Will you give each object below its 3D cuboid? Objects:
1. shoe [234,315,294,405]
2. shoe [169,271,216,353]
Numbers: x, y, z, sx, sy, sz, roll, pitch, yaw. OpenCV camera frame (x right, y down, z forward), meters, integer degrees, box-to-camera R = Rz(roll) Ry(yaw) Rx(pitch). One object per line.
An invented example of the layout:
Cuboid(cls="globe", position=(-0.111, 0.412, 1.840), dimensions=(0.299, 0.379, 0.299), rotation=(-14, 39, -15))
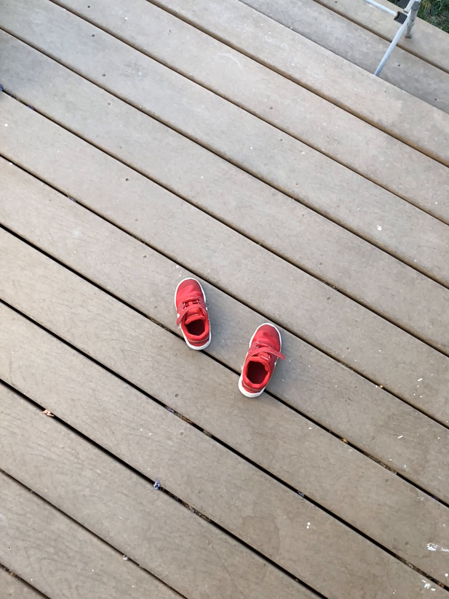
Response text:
Cuboid(cls="shoe", position=(0.082, 0.128, 1.028), dimensions=(0.069, 0.069, 0.164), rotation=(19, 75, 2))
Cuboid(cls="shoe", position=(-0.069, 0.028, 1.051), dimensions=(0.073, 0.069, 0.153), rotation=(-10, 76, -6))
